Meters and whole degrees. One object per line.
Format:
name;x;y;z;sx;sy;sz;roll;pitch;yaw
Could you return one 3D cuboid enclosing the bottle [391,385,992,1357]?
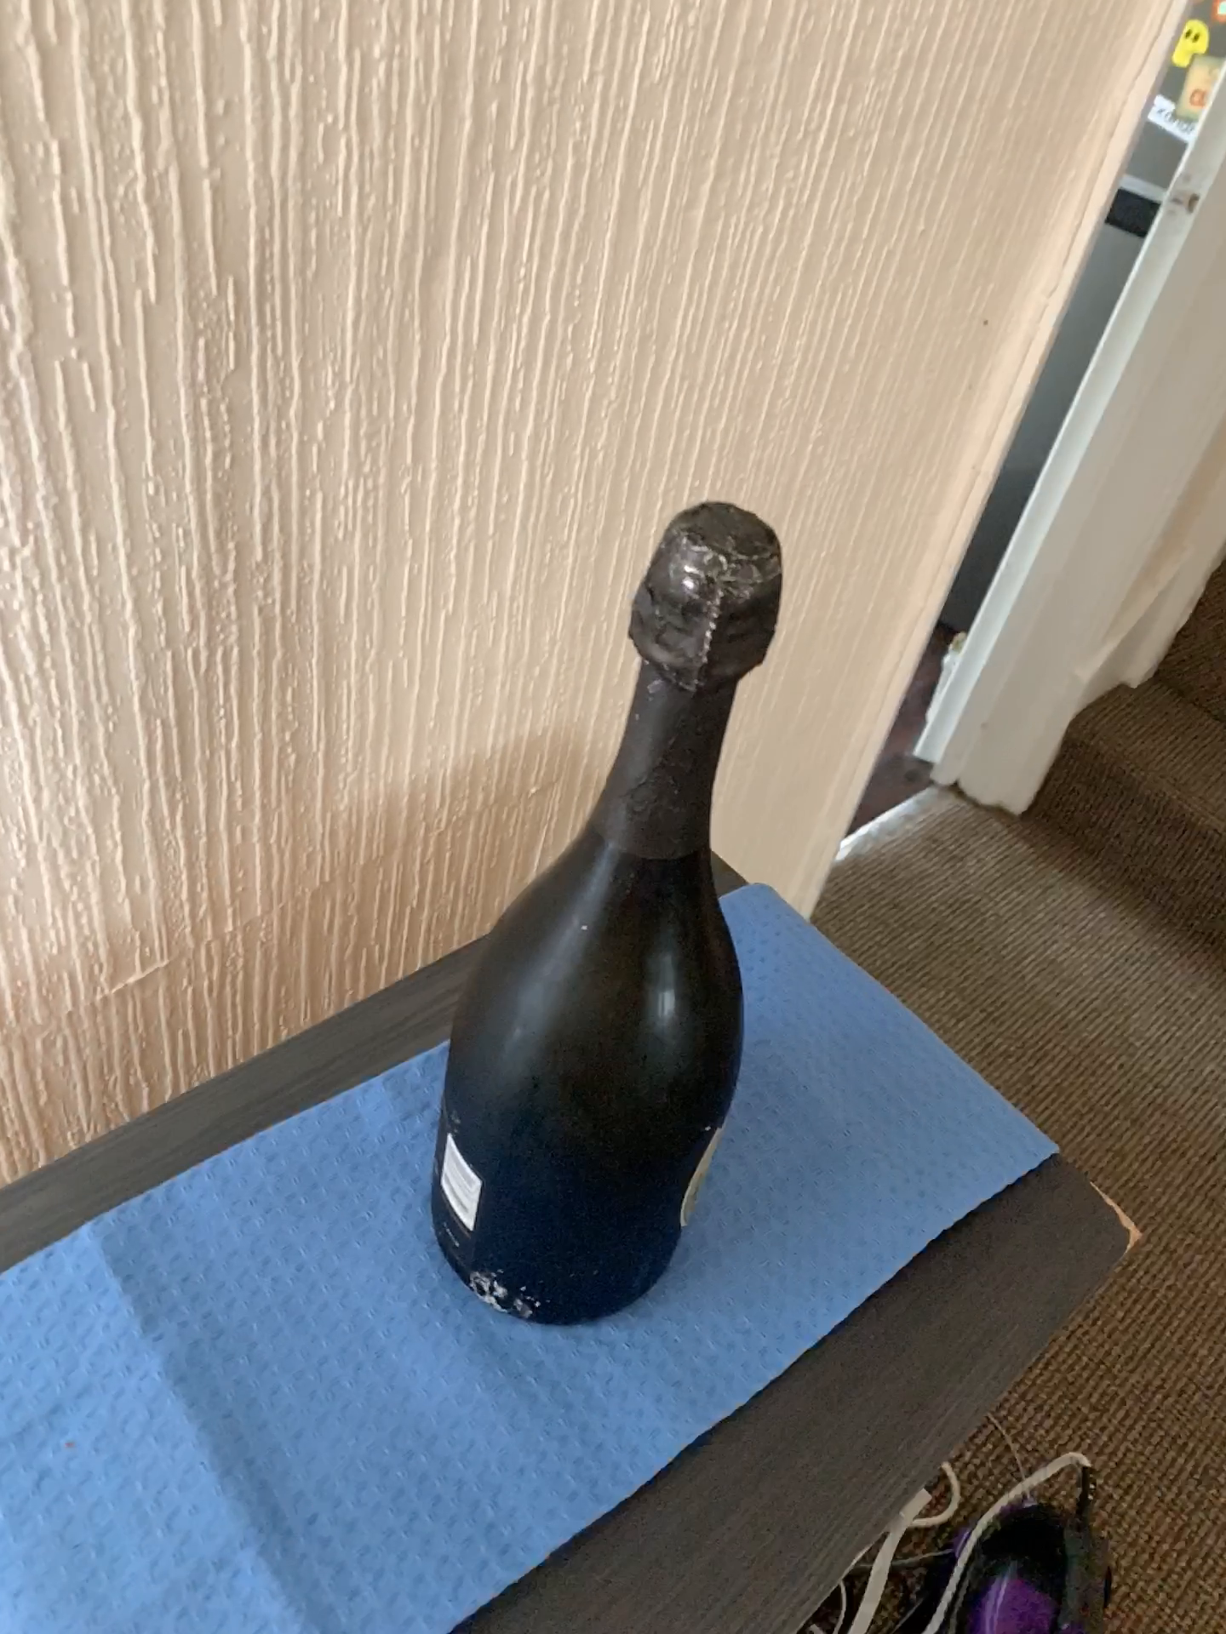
bottle;0.000;0.042;0.377;0.100;0.297;0.101;8;42;-7
